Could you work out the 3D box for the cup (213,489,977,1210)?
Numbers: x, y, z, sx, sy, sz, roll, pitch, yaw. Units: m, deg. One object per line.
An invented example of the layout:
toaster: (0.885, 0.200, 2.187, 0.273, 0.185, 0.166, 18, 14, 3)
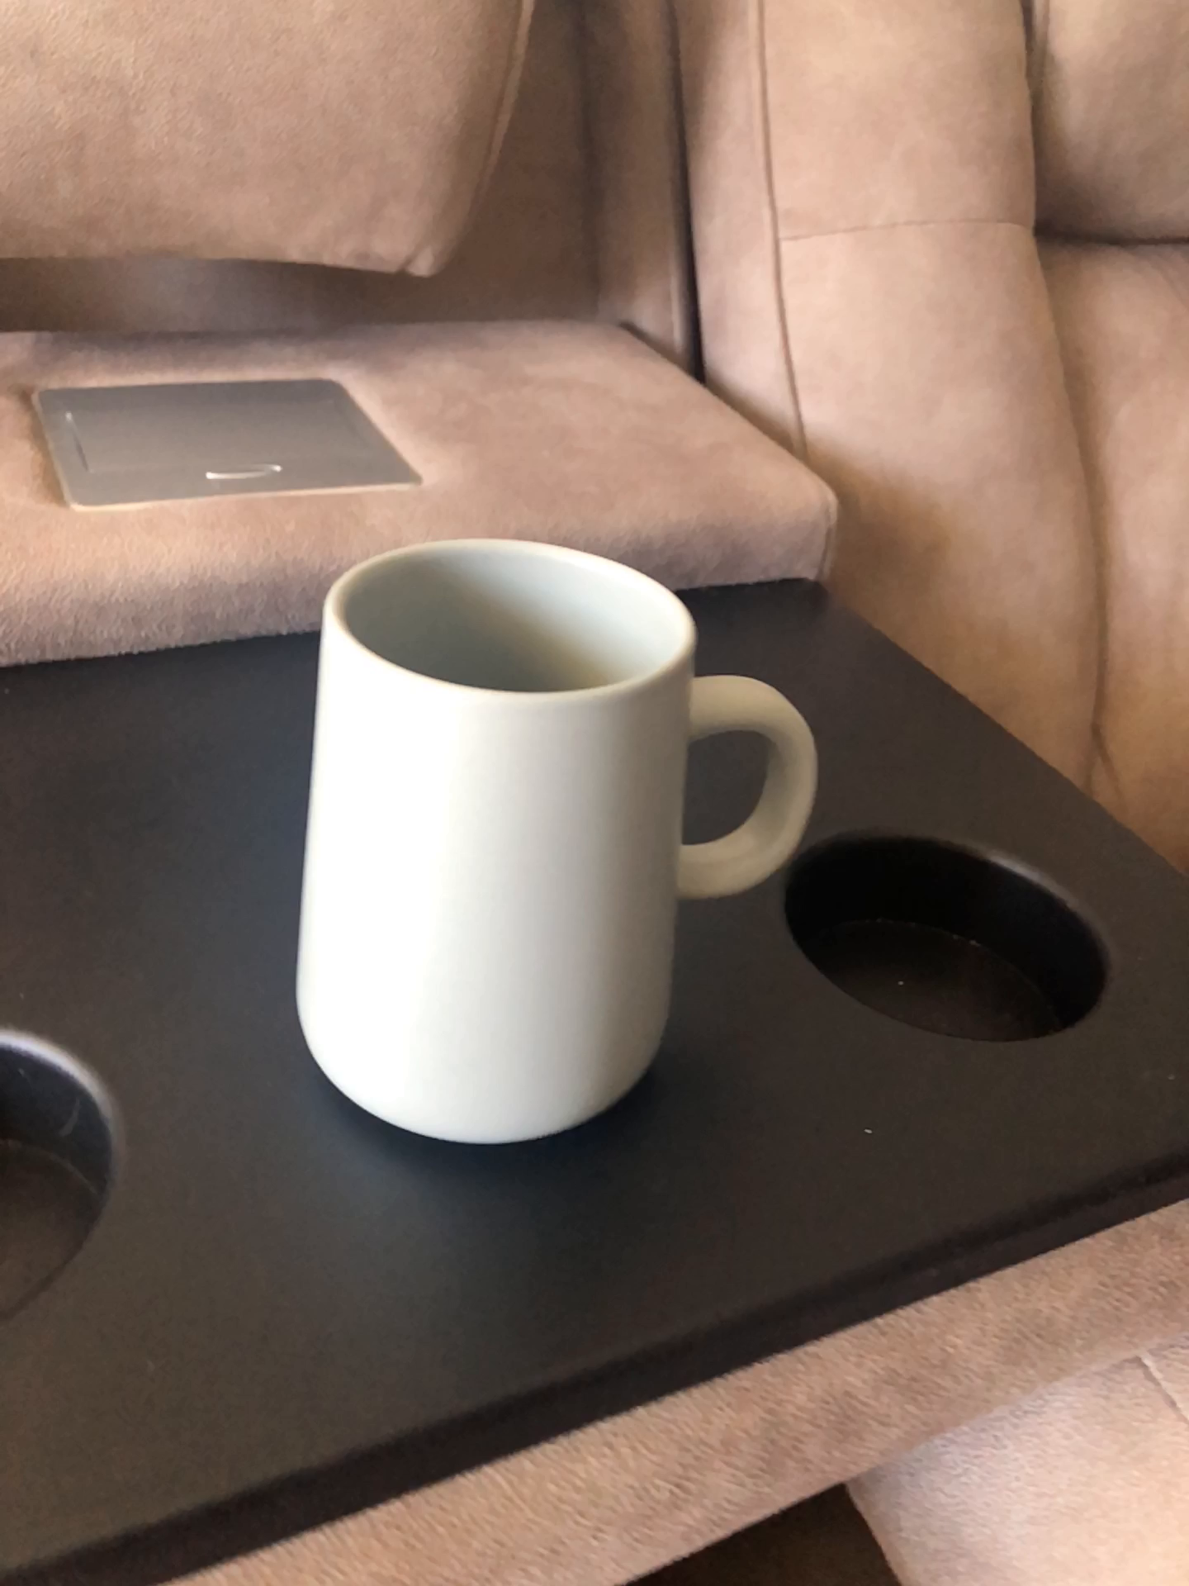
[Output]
cup: (-0.009, 0.007, 0.306, 0.137, 0.121, 0.087, -8, 37, -20)
